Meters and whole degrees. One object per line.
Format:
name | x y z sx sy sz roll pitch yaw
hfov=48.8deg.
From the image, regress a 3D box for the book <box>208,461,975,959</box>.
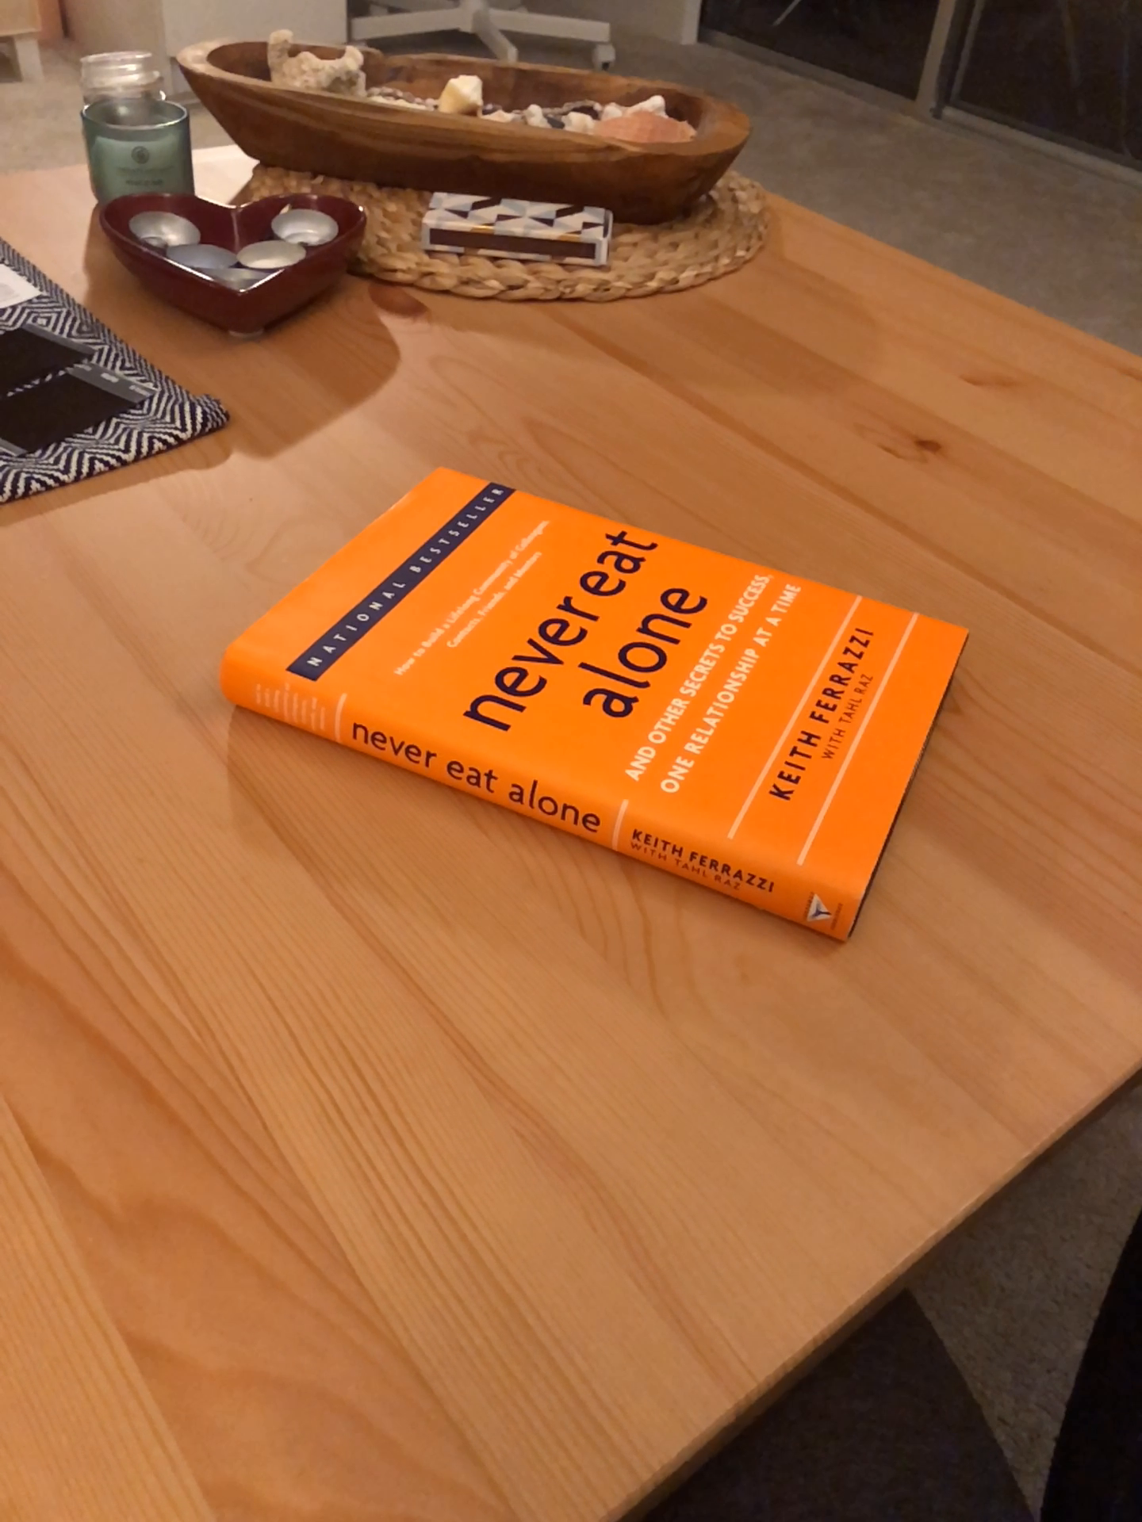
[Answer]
book | 0.015 -0.036 0.478 0.240 0.025 0.167 20 43 15
